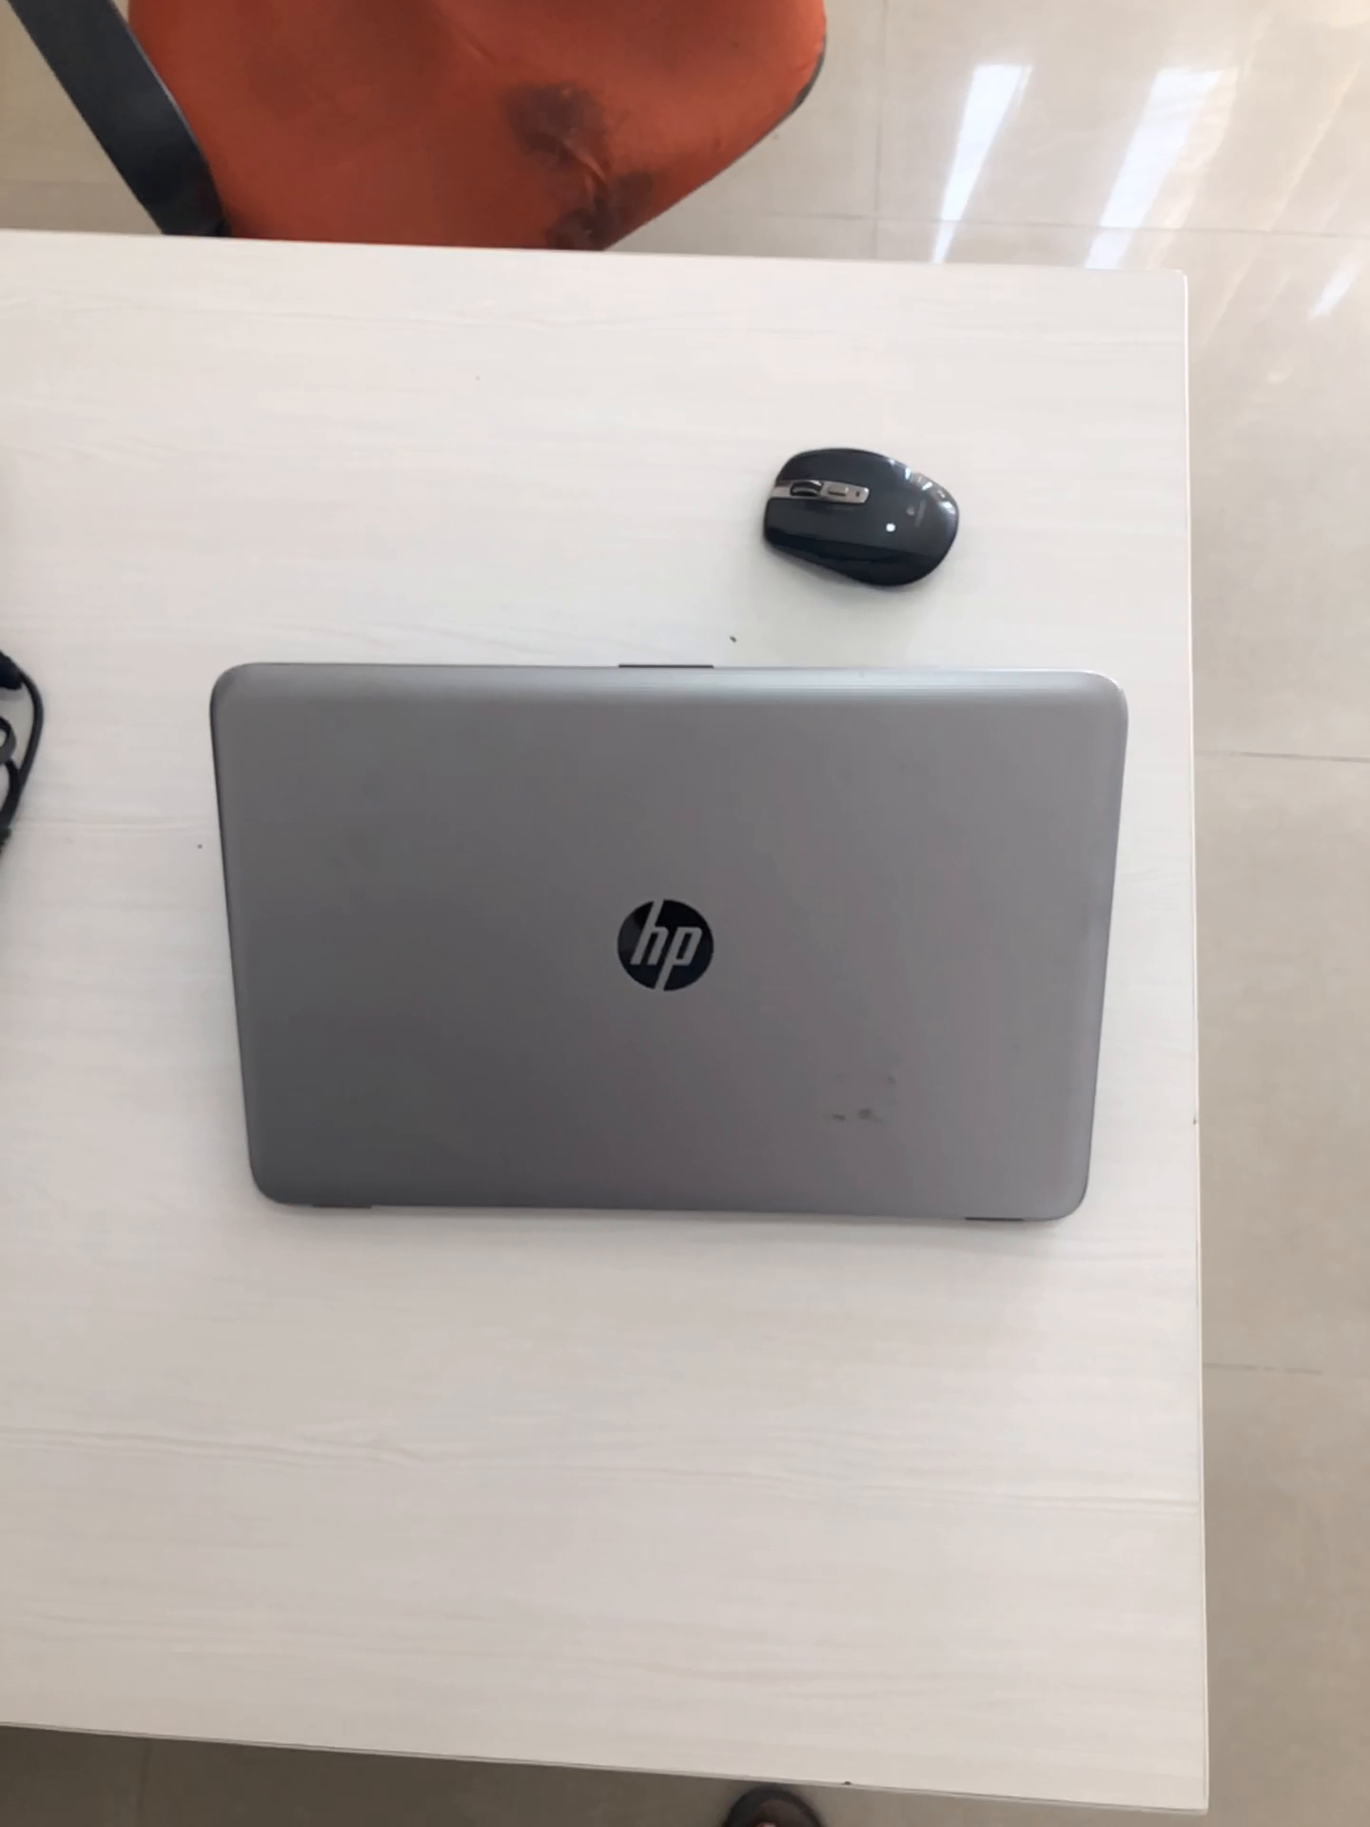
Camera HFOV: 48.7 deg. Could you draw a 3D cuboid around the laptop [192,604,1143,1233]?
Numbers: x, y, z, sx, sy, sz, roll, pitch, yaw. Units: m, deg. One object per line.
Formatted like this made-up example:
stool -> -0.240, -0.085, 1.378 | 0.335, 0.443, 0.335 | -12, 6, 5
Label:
laptop -> -0.008, 0.007, 0.668 | 0.369, 0.121, 0.251 | 1, 79, 3
